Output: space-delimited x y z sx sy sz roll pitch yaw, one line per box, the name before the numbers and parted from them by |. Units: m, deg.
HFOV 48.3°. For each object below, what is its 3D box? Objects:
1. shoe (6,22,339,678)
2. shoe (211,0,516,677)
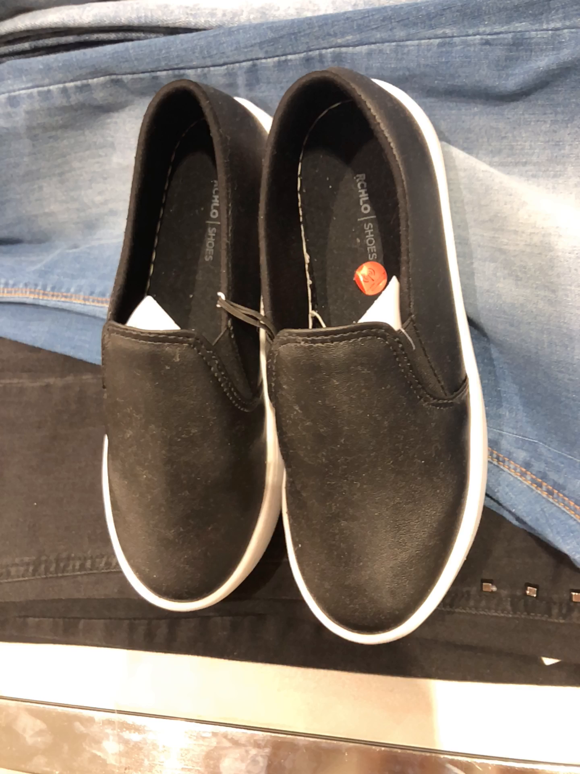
shoe | -0.051 -0.018 0.320 0.110 0.100 0.260 5 92 16
shoe | 0.039 -0.021 0.302 0.110 0.100 0.260 -2 91 15
